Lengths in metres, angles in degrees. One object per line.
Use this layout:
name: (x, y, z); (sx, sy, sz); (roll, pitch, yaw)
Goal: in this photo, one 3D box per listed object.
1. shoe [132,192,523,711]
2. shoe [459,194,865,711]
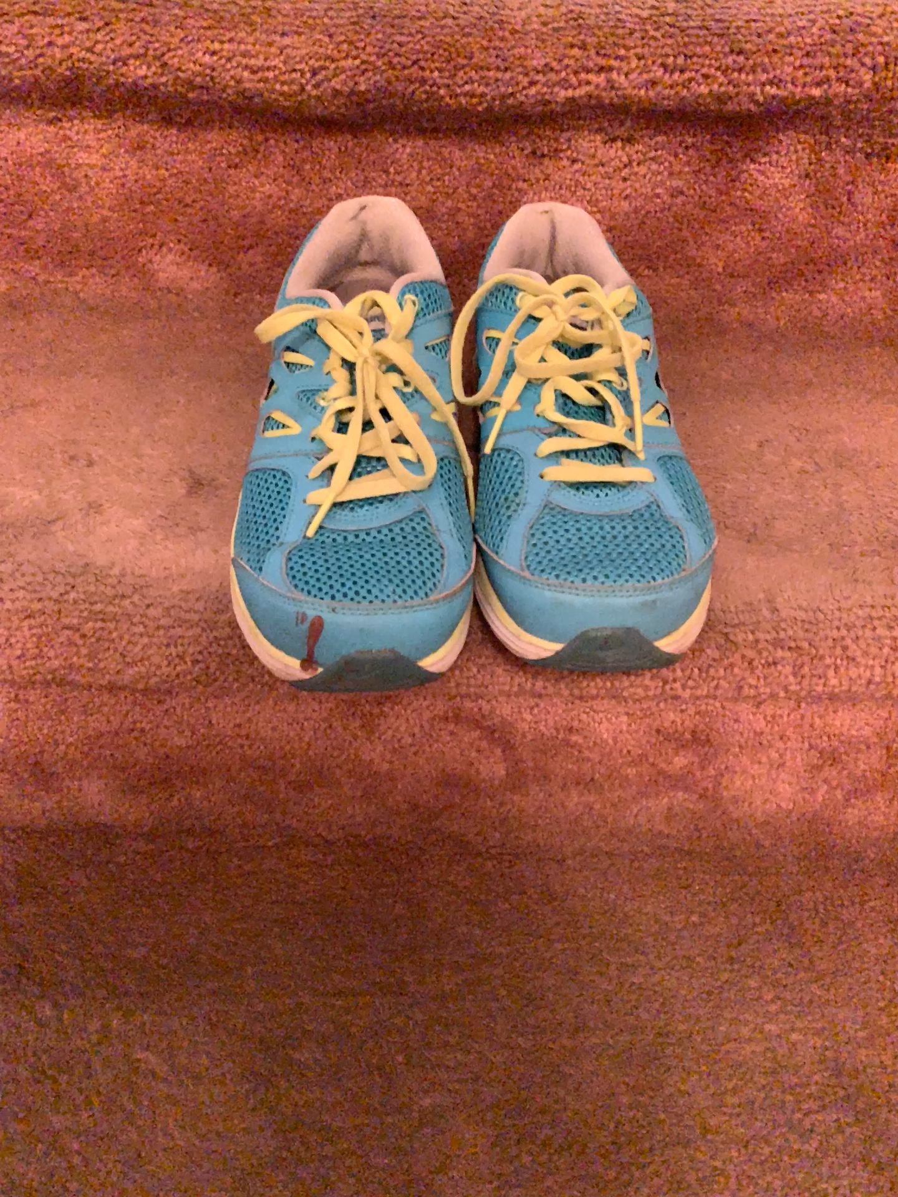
shoe: (-0.043, -0.087, 0.404); (0.110, 0.099, 0.283); (0, 37, -4)
shoe: (0.063, -0.087, 0.408); (0.110, 0.099, 0.283); (2, 37, -1)
